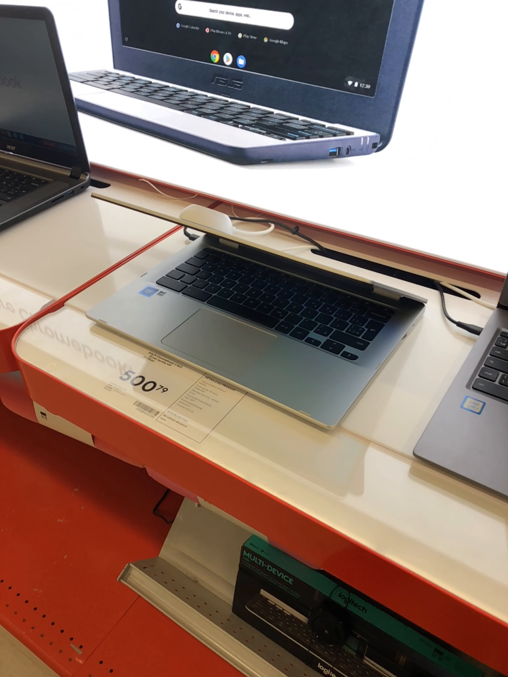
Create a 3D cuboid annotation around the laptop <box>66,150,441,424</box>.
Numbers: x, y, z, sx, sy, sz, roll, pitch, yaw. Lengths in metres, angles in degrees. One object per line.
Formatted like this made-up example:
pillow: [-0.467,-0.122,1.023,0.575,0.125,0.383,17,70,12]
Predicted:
laptop: [0.000,-0.080,0.601,0.312,0.118,0.213,22,45,27]
